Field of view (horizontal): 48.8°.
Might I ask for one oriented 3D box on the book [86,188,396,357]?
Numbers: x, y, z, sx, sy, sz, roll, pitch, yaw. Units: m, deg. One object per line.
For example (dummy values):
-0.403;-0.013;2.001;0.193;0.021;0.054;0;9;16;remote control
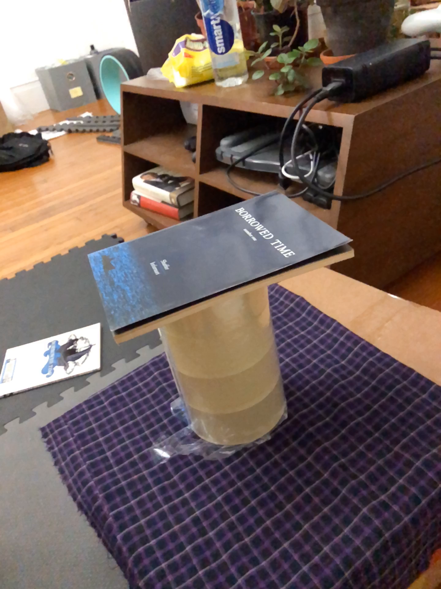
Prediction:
0.006;-0.035;0.429;0.230;0.010;0.161;-19;34;-13;book
